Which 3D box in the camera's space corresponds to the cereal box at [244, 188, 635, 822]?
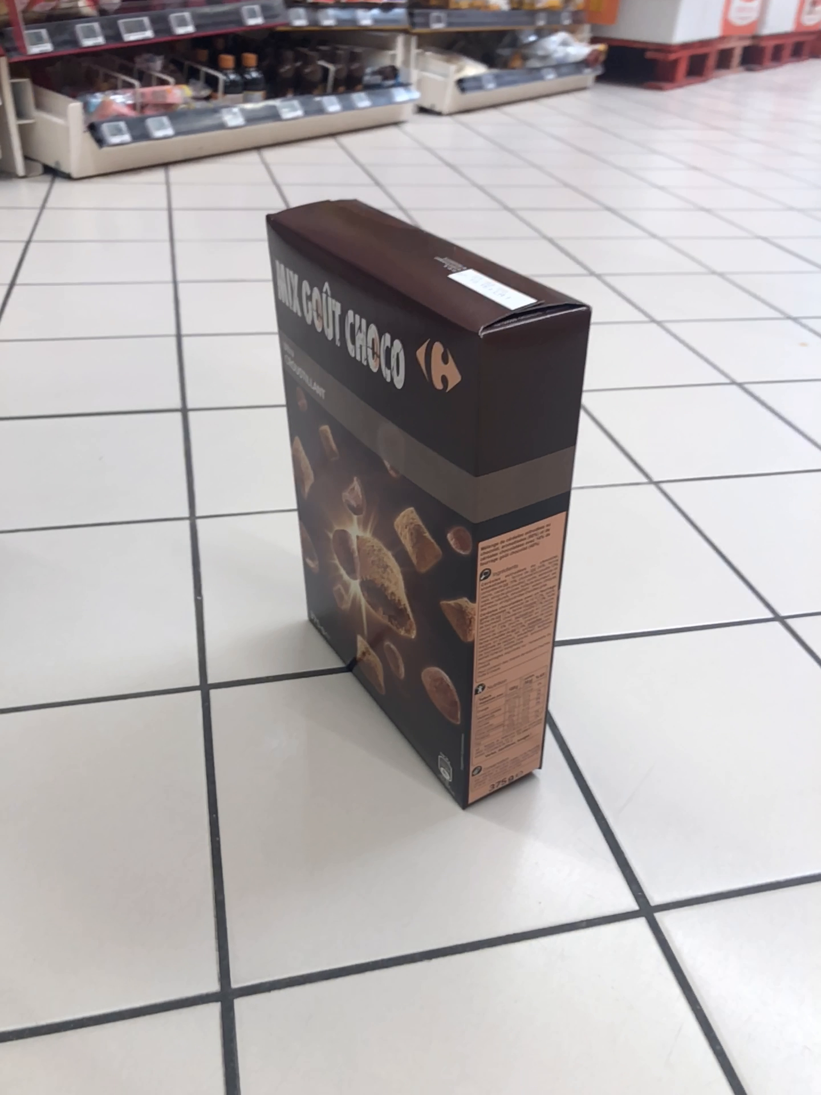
[{"bbox_3d":[0.001,-0.027,0.487,0.080,0.268,0.200,-19,39,-27],"label":"cereal box"}]
